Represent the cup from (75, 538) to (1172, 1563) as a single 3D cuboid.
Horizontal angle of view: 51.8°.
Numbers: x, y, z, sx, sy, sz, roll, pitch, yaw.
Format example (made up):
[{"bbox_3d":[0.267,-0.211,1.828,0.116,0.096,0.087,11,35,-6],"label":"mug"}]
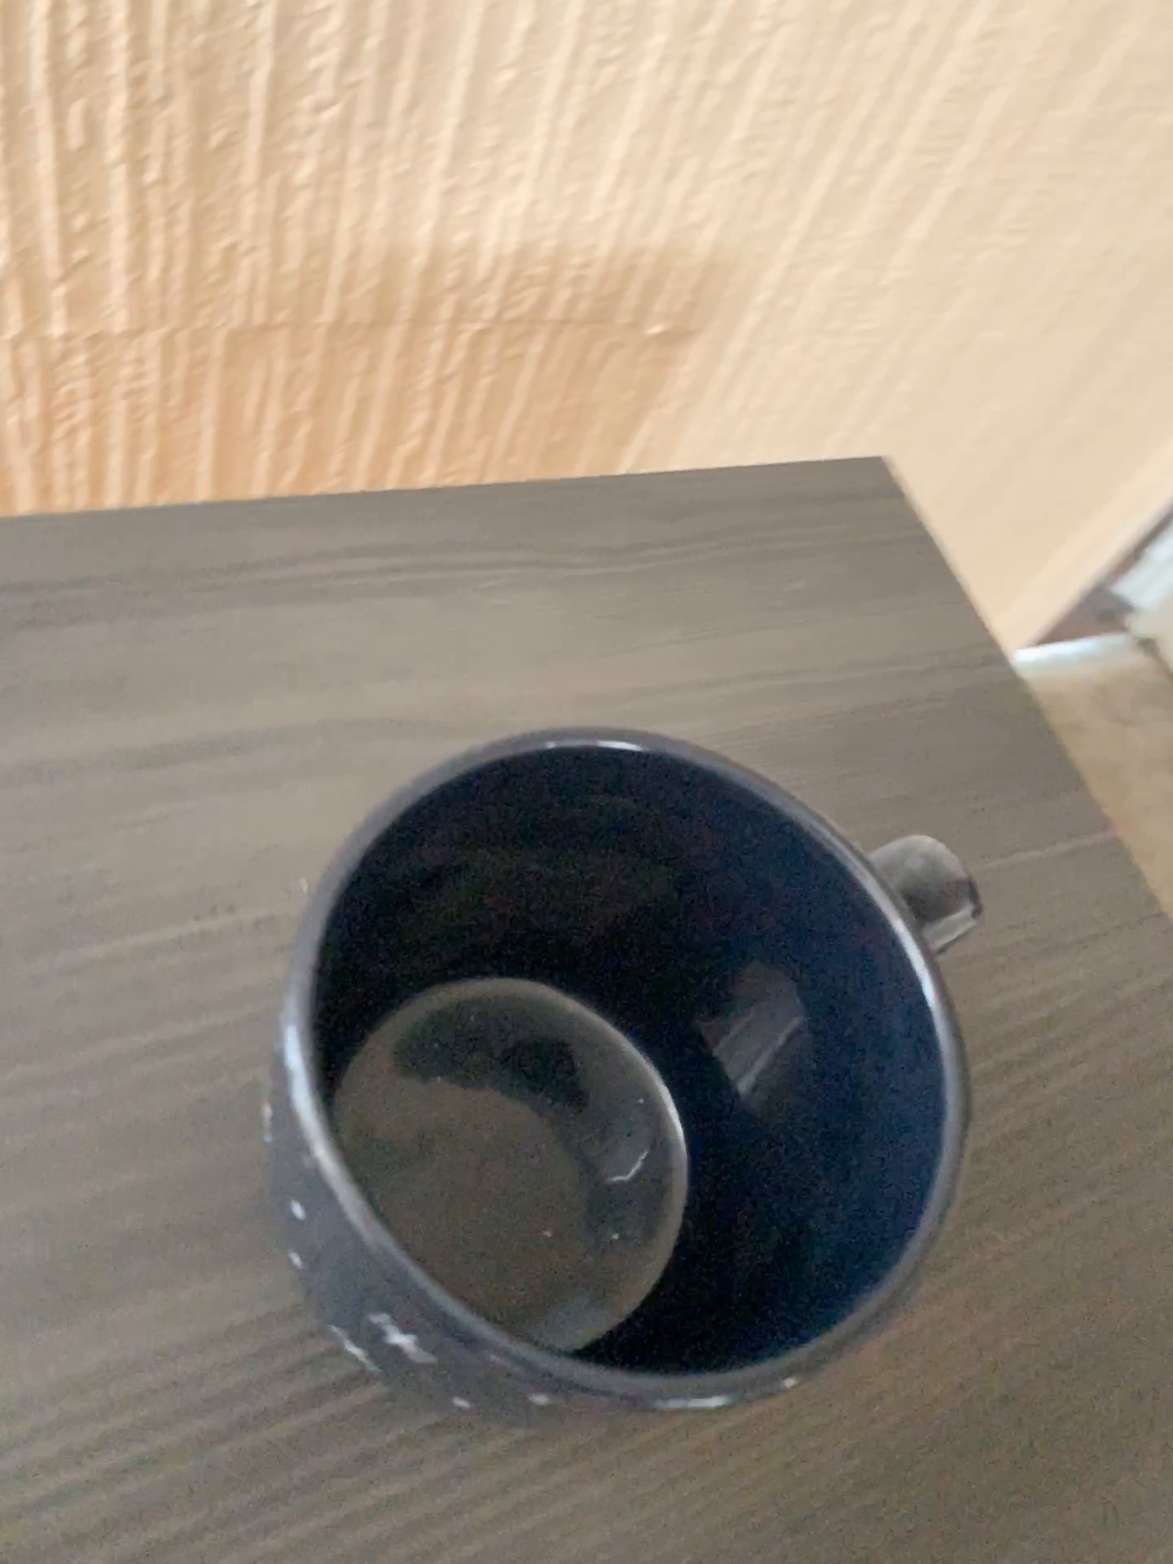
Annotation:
[{"bbox_3d":[0.006,0.037,0.191,0.131,0.069,0.100,-25,71,-32],"label":"cup"}]
